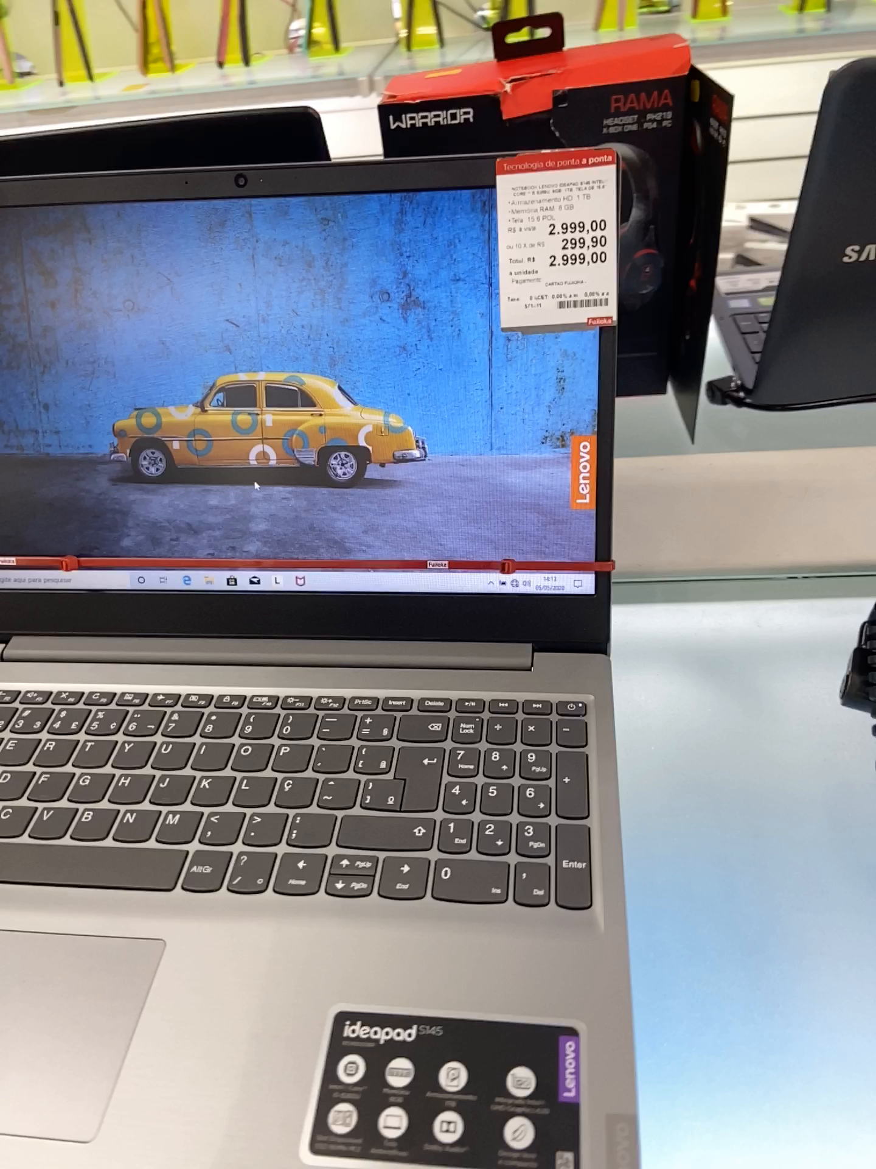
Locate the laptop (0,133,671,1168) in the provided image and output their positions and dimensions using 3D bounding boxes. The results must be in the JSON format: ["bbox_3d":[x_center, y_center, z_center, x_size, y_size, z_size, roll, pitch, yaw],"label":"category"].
[{"bbox_3d":[-0.114,-0.010,0.370,0.368,0.209,0.381,0,39,8],"label":"laptop"}]
